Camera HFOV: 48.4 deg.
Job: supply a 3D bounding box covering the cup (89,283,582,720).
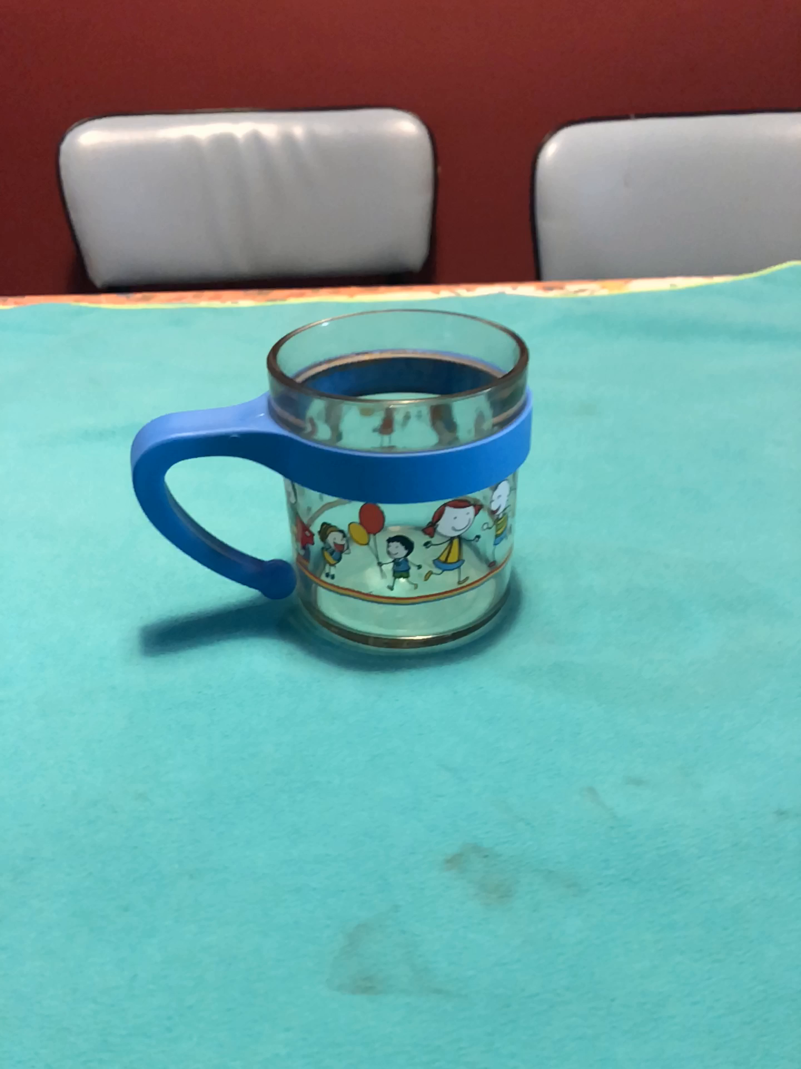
[{"bbox_3d":[-0.024,-0.018,0.290,0.130,0.089,0.091,-10,32,-13],"label":"cup"}]
